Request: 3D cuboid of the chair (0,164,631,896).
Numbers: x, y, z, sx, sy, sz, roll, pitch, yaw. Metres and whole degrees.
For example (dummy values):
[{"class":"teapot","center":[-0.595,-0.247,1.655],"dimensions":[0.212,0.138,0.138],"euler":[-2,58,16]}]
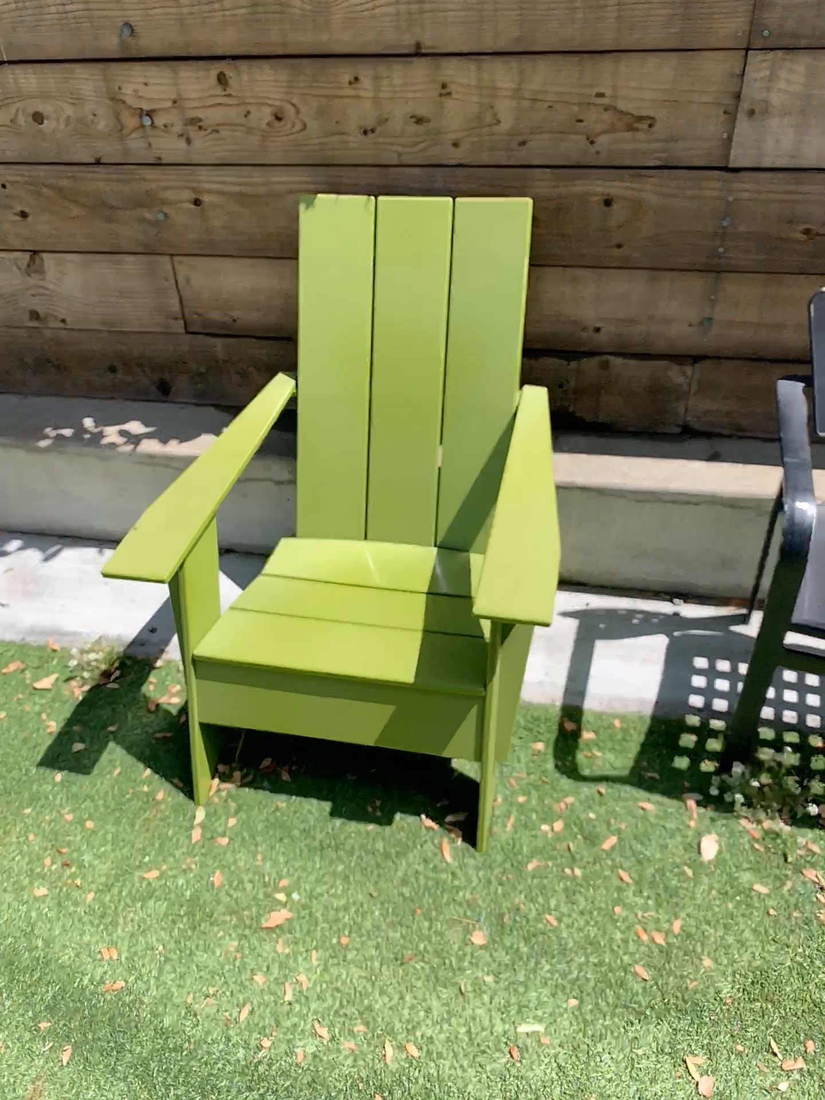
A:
[{"class":"chair","center":[-0.051,-0.096,1.511],"dimensions":[0.721,0.845,0.904],"euler":[7,41,12]}]
